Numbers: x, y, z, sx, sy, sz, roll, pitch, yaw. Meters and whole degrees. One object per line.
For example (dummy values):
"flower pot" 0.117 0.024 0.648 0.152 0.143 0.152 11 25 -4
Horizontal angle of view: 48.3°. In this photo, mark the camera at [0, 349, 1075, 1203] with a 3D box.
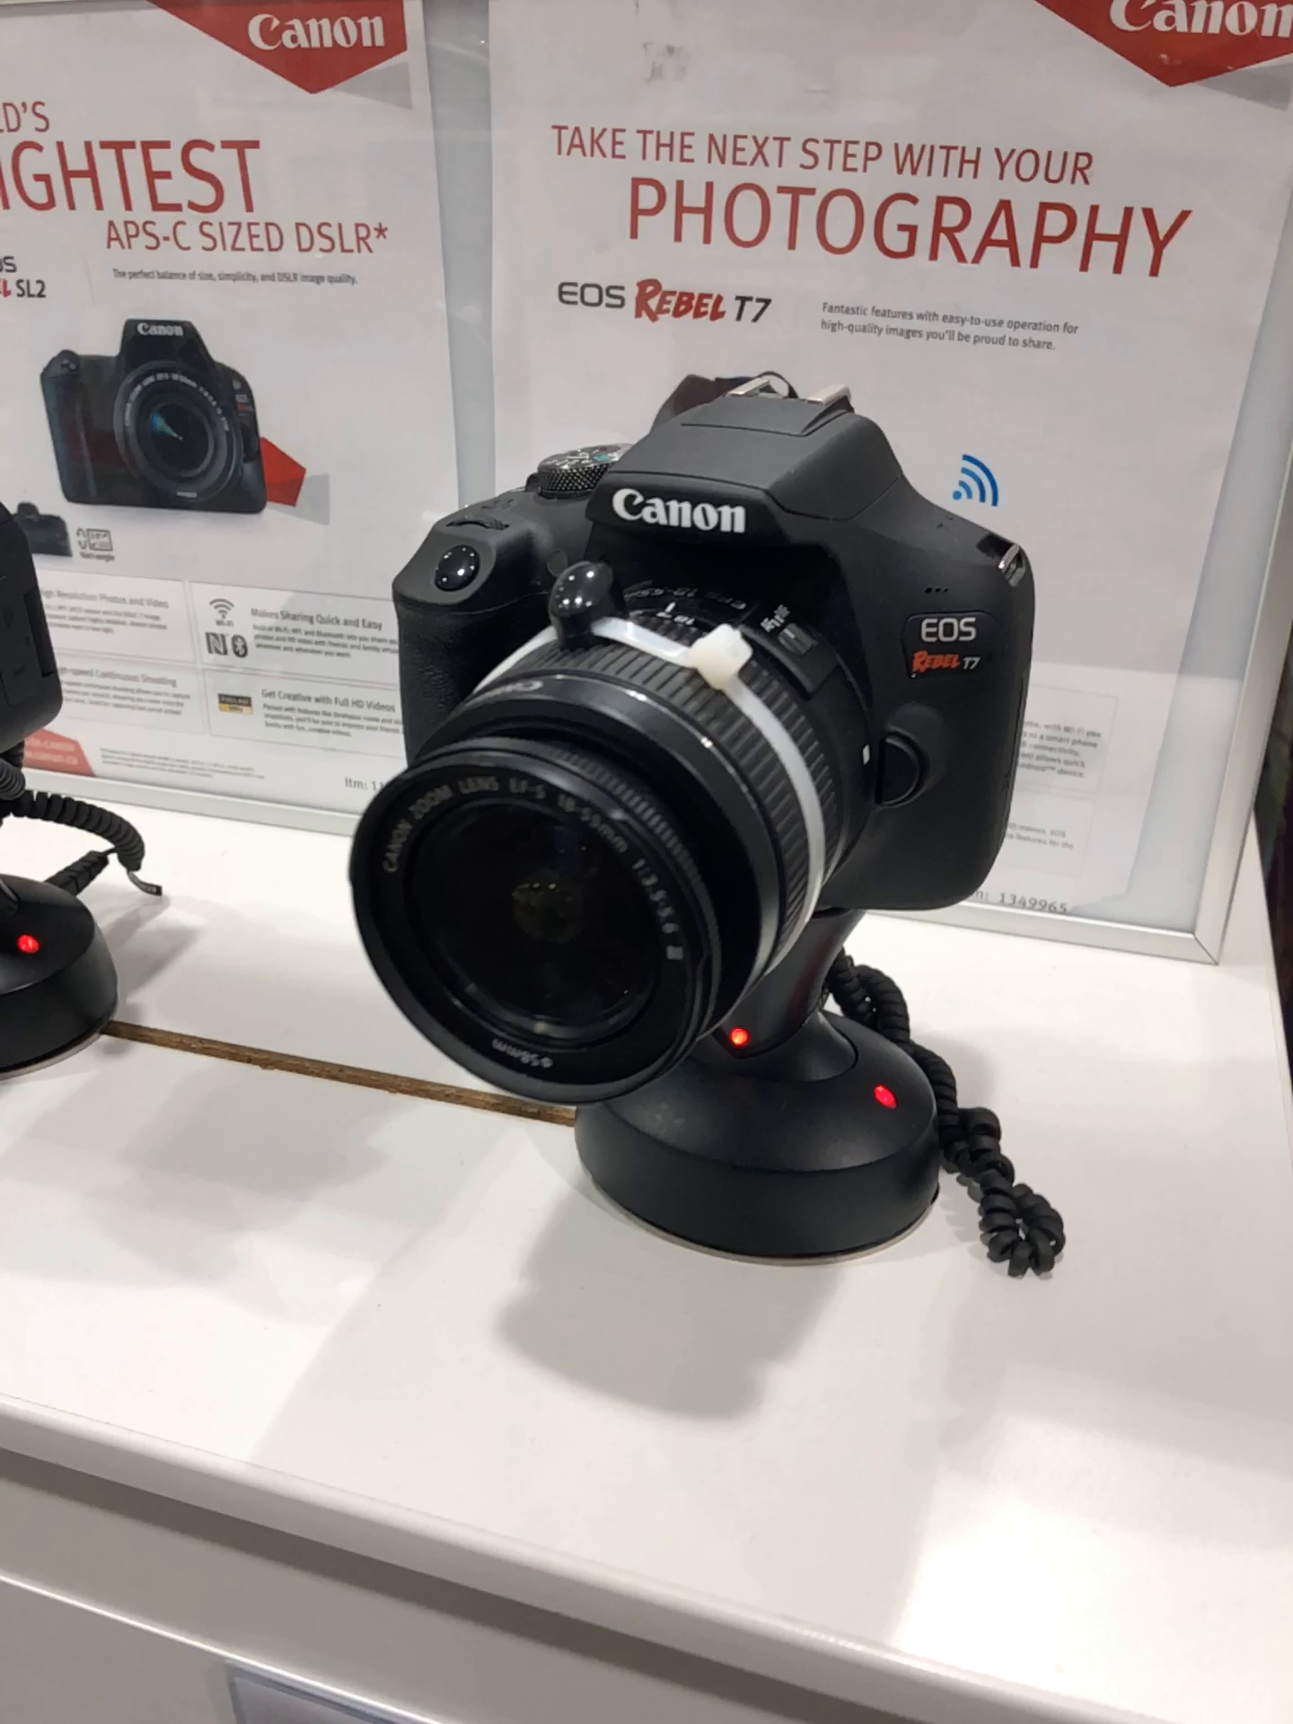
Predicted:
"camera" -0.007 -0.033 0.264 0.140 0.090 0.140 10 29 18
